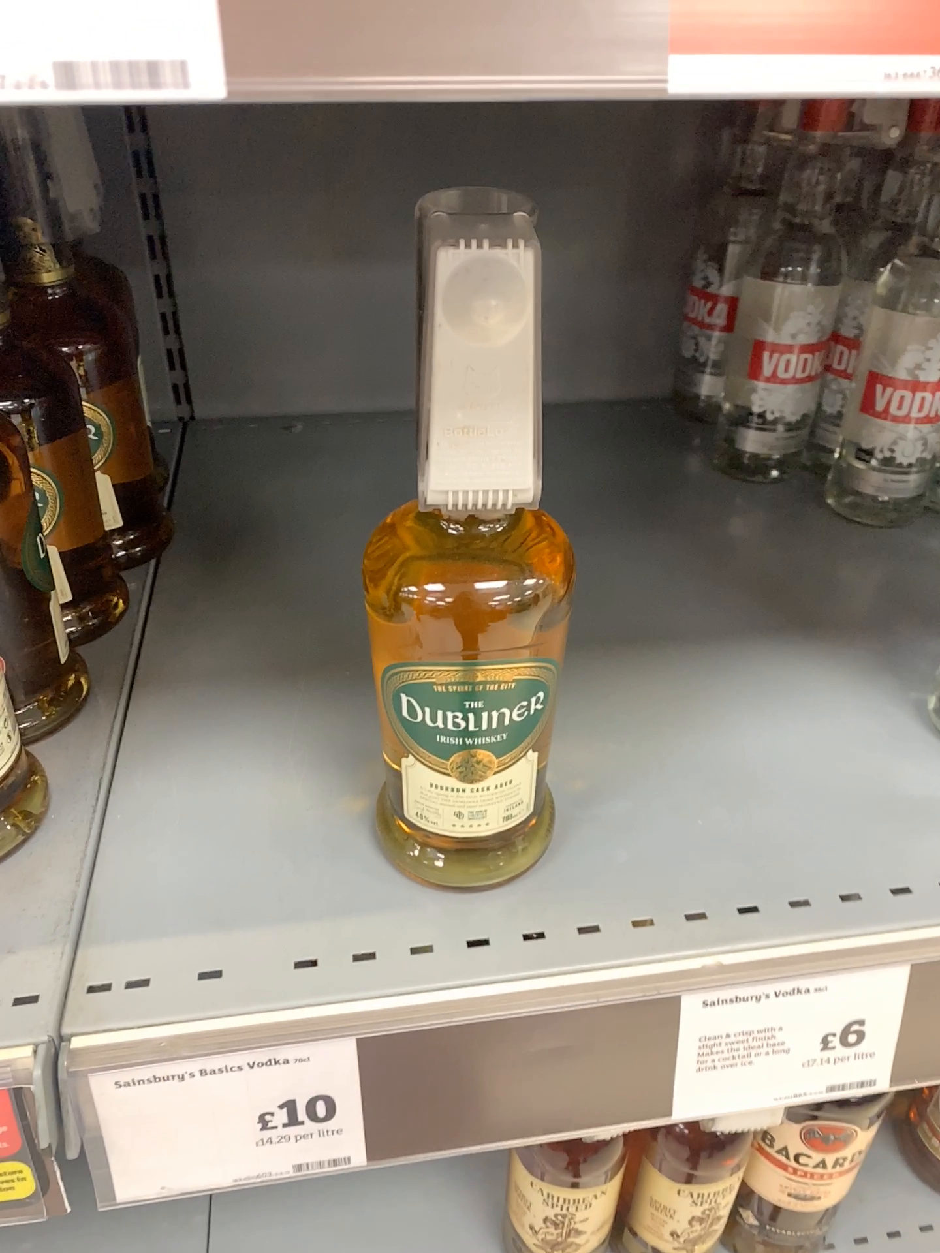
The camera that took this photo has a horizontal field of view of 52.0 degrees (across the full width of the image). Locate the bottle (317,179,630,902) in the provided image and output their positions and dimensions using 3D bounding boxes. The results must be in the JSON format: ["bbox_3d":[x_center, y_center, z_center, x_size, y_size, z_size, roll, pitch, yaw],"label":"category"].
[{"bbox_3d":[0.001,-0.019,0.391,0.089,0.283,0.091,0,35,0],"label":"bottle"}]
